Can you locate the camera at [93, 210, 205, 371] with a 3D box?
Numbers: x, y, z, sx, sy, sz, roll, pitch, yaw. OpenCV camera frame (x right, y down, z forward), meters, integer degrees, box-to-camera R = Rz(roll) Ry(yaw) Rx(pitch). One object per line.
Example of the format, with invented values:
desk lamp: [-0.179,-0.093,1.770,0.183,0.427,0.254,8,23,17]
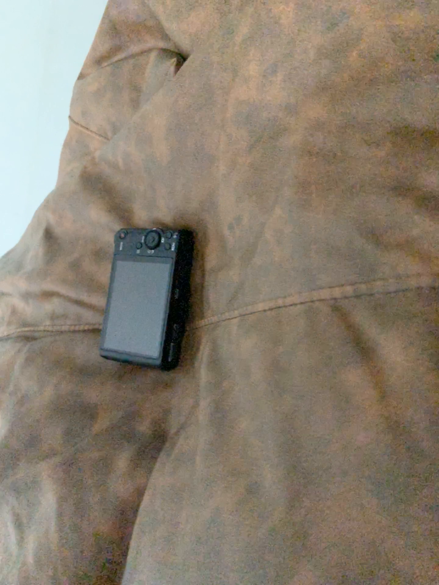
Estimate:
camera: [-0.049,-0.002,0.308,0.060,0.024,0.100,5,84,38]
